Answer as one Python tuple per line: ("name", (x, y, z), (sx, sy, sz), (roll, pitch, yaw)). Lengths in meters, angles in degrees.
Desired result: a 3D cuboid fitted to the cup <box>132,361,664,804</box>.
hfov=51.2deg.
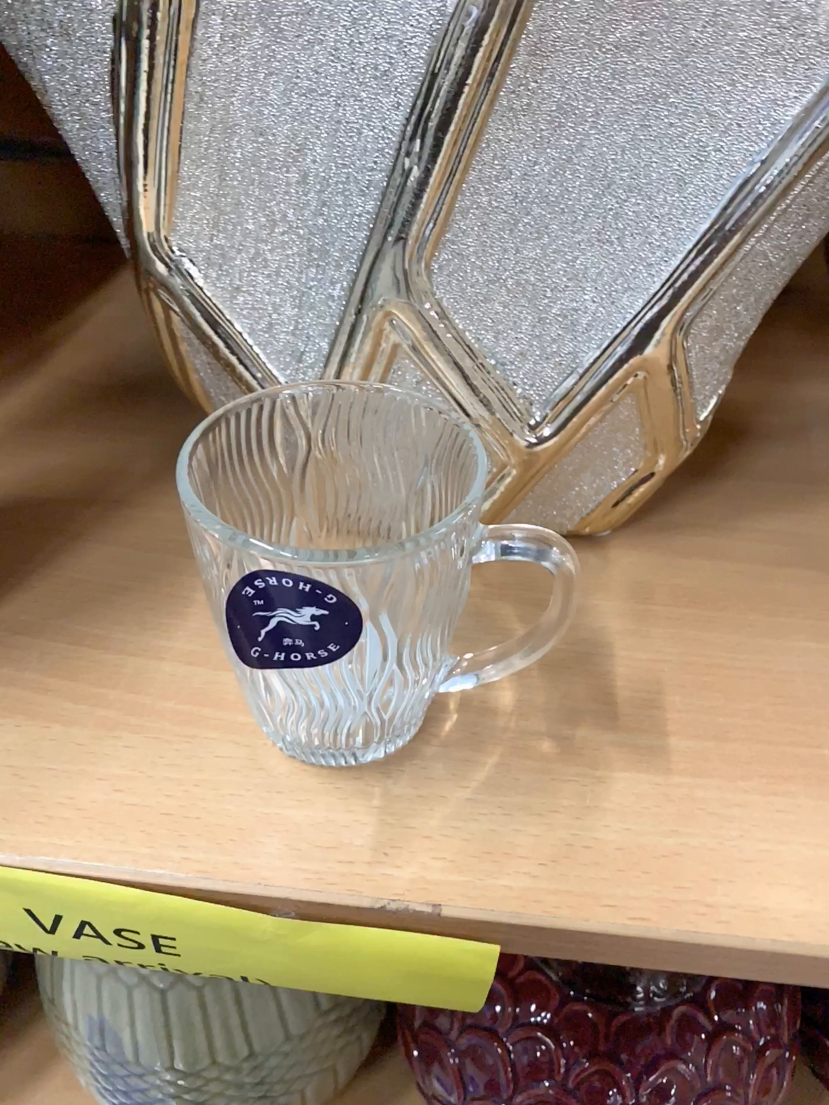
("cup", (-0.002, 0.005, 0.210), (0.100, 0.070, 0.070), (5, 39, 3))
